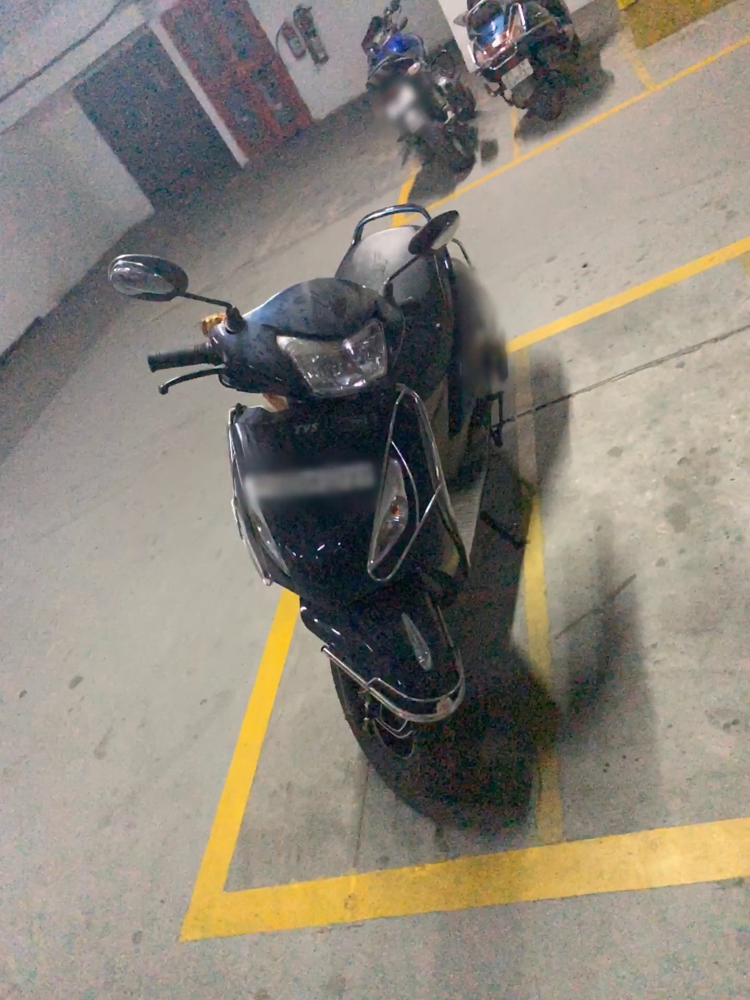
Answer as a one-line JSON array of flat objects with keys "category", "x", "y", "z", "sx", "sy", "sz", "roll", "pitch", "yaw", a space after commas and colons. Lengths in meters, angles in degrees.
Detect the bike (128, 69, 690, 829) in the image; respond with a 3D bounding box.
[{"category": "bike", "x": 0.127, "y": -0.265, "z": 2.089, "sx": 0.665, "sy": 1.028, "sz": 1.701, "roll": -23, "pitch": 37, "yaw": 20}]
